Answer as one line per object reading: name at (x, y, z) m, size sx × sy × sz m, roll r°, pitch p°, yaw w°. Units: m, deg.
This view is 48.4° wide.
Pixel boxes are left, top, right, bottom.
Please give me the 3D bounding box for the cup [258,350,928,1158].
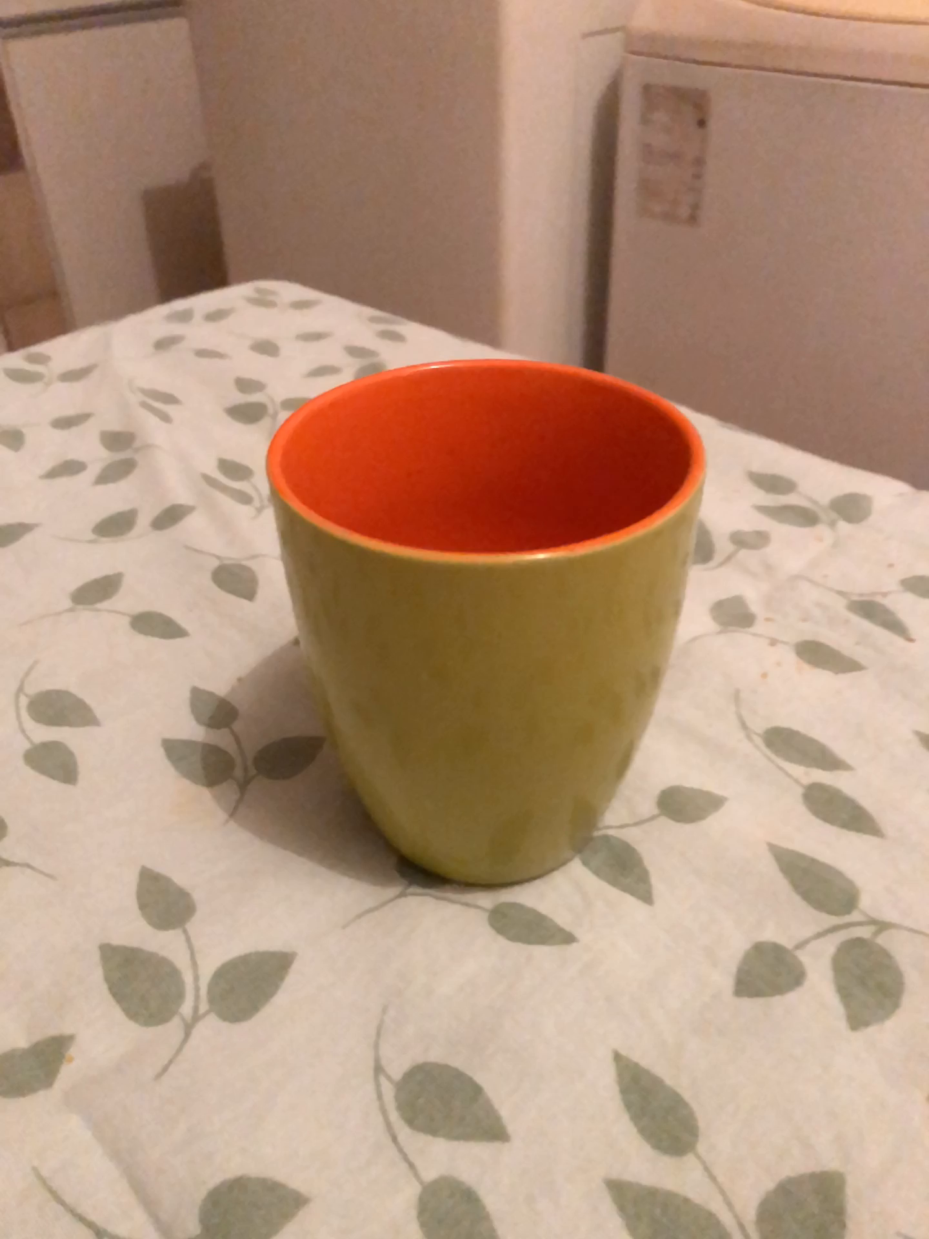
cup at (0.013, 0.016, 0.201) m, size 0.090 × 0.089 × 0.121 m, roll -5°, pitch 36°, yaw -5°
